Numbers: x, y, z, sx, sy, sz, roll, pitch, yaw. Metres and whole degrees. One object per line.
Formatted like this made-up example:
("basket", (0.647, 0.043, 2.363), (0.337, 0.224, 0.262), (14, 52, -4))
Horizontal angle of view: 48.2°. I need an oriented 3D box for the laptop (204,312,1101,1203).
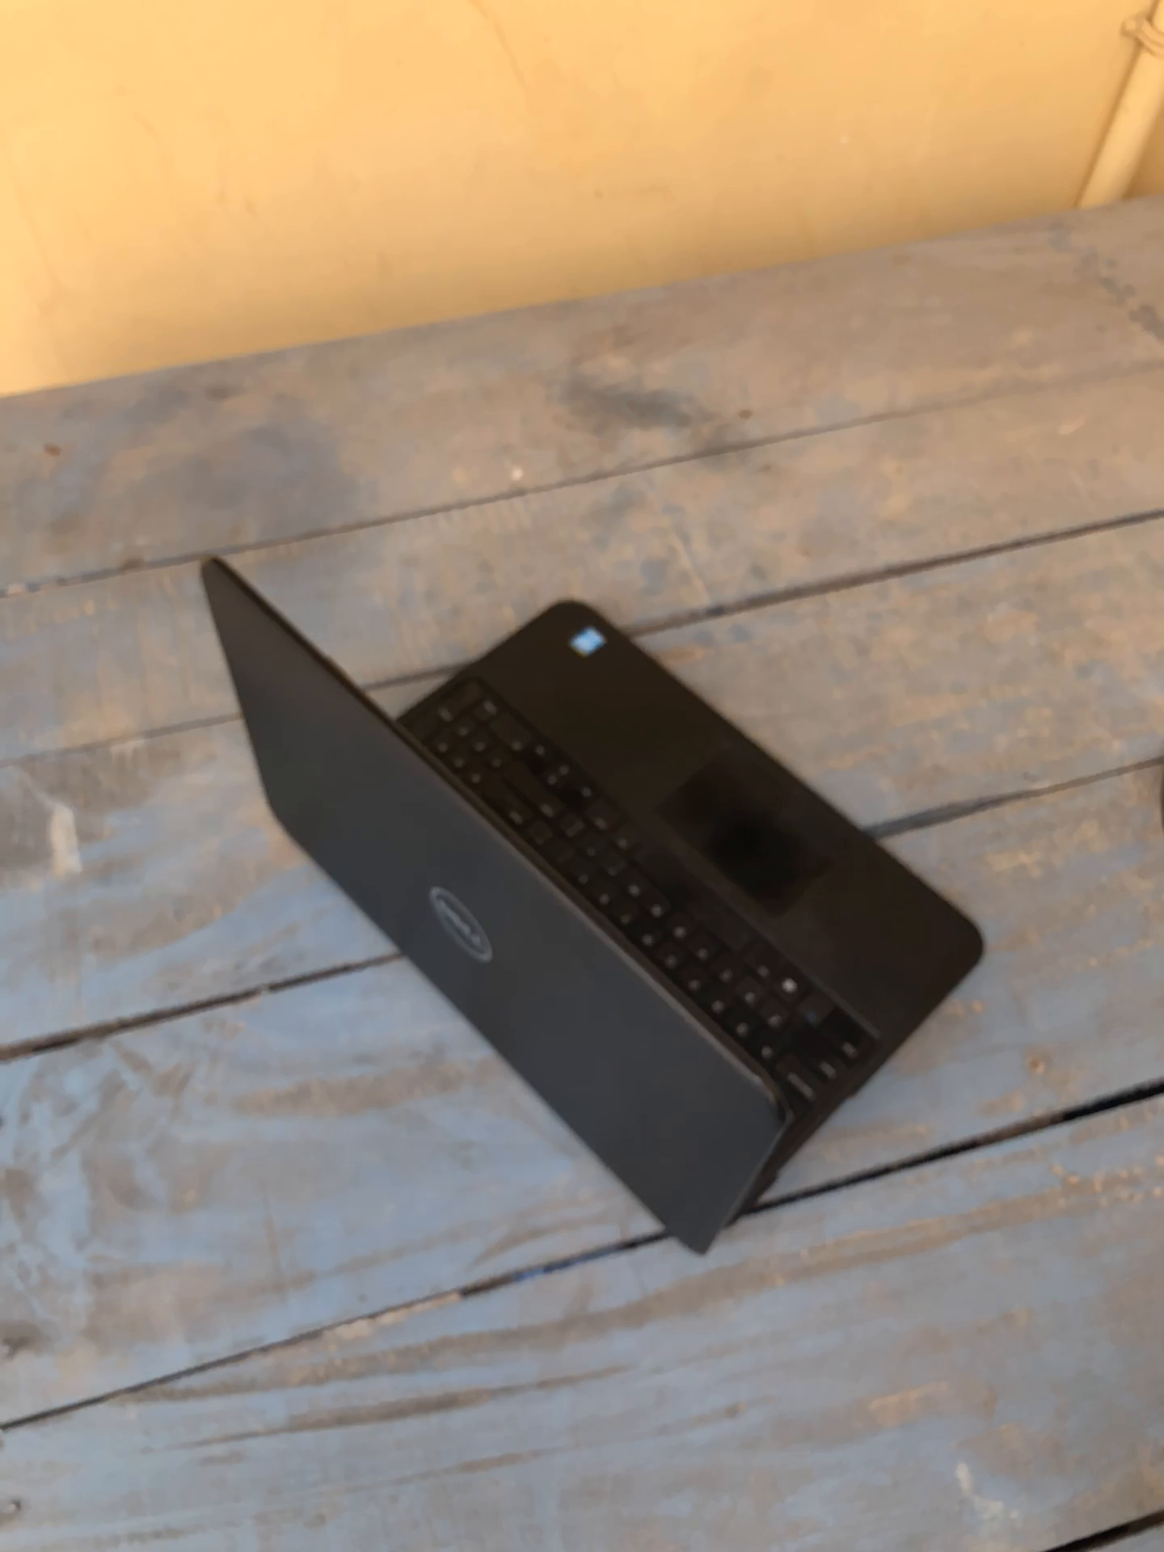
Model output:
("laptop", (0.022, -0.009, 0.686), (0.225, 0.234, 0.341), (-39, 67, -21))
